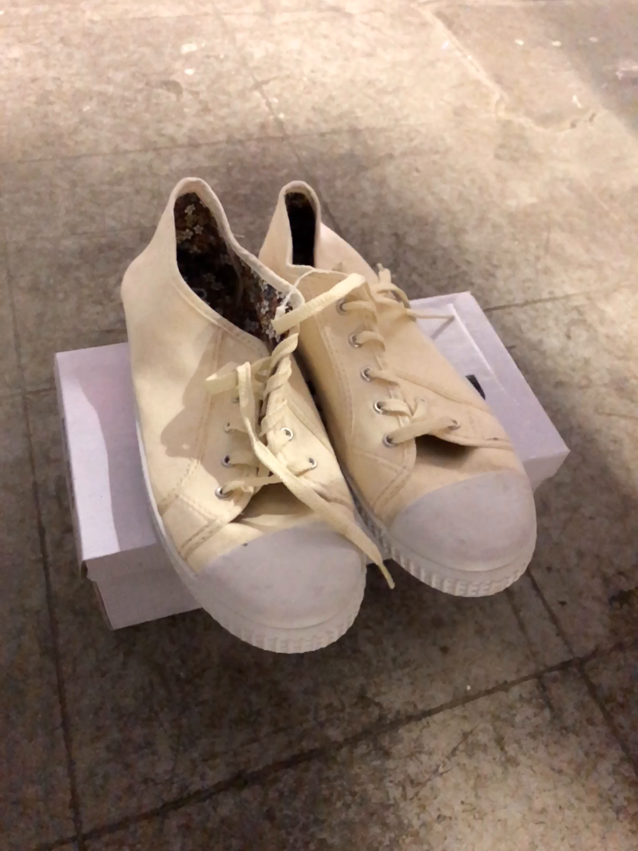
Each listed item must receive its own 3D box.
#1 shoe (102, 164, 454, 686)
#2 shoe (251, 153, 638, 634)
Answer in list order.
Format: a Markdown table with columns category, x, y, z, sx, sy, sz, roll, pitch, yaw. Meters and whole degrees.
| category | x | y | z | sx | sy | sz | roll | pitch | yaw |
| --- | --- | --- | --- | --- | --- | --- | --- | --- | --- |
| shoe | -0.038 | -0.020 | 0.362 | 0.090 | 0.079 | 0.261 | -12 | 55 | -16 |
| shoe | 0.048 | -0.035 | 0.378 | 0.100 | 0.079 | 0.251 | -12 | 55 | -16 |
